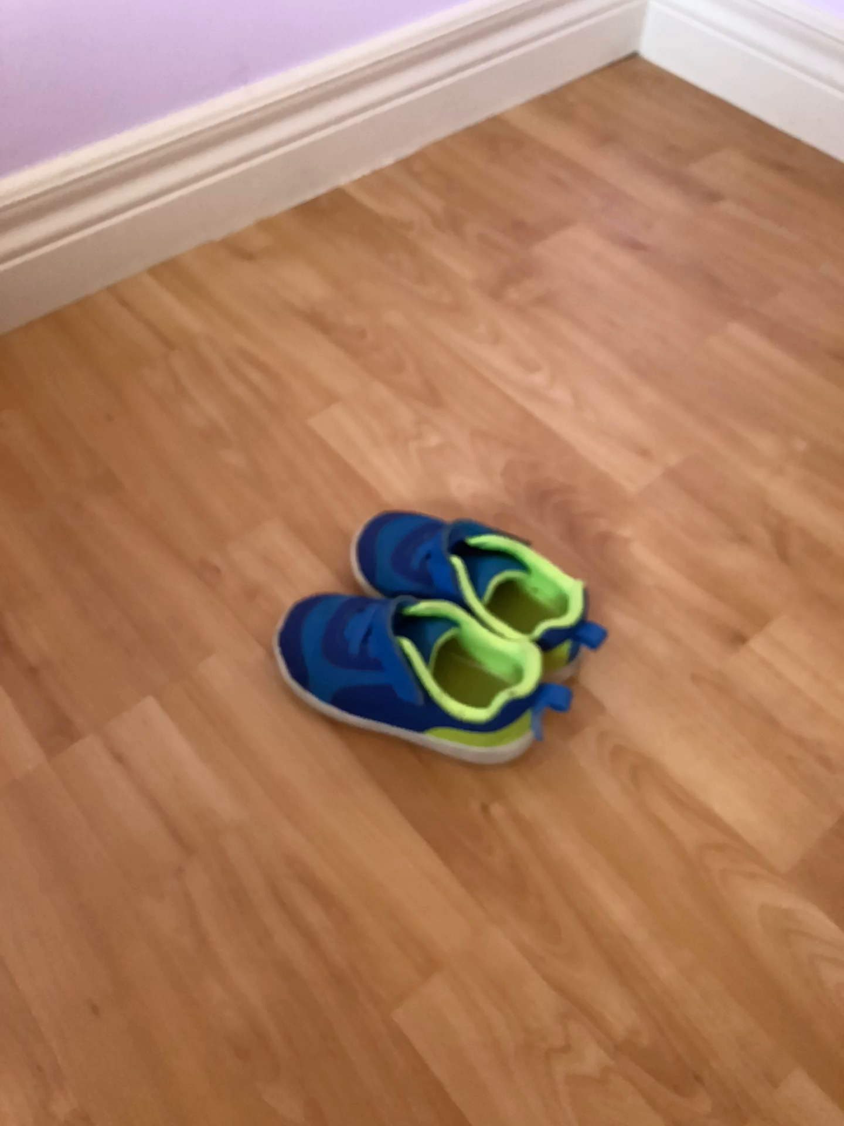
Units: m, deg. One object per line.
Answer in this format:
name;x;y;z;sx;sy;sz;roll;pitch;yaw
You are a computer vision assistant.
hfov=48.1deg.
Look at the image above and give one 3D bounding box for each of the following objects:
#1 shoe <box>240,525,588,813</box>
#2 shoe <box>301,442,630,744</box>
shoe;-0.004;0.055;0.515;0.160;0.070;0.080;20;55;15
shoe;0.022;0.014;0.536;0.160;0.070;0.080;31;59;21
